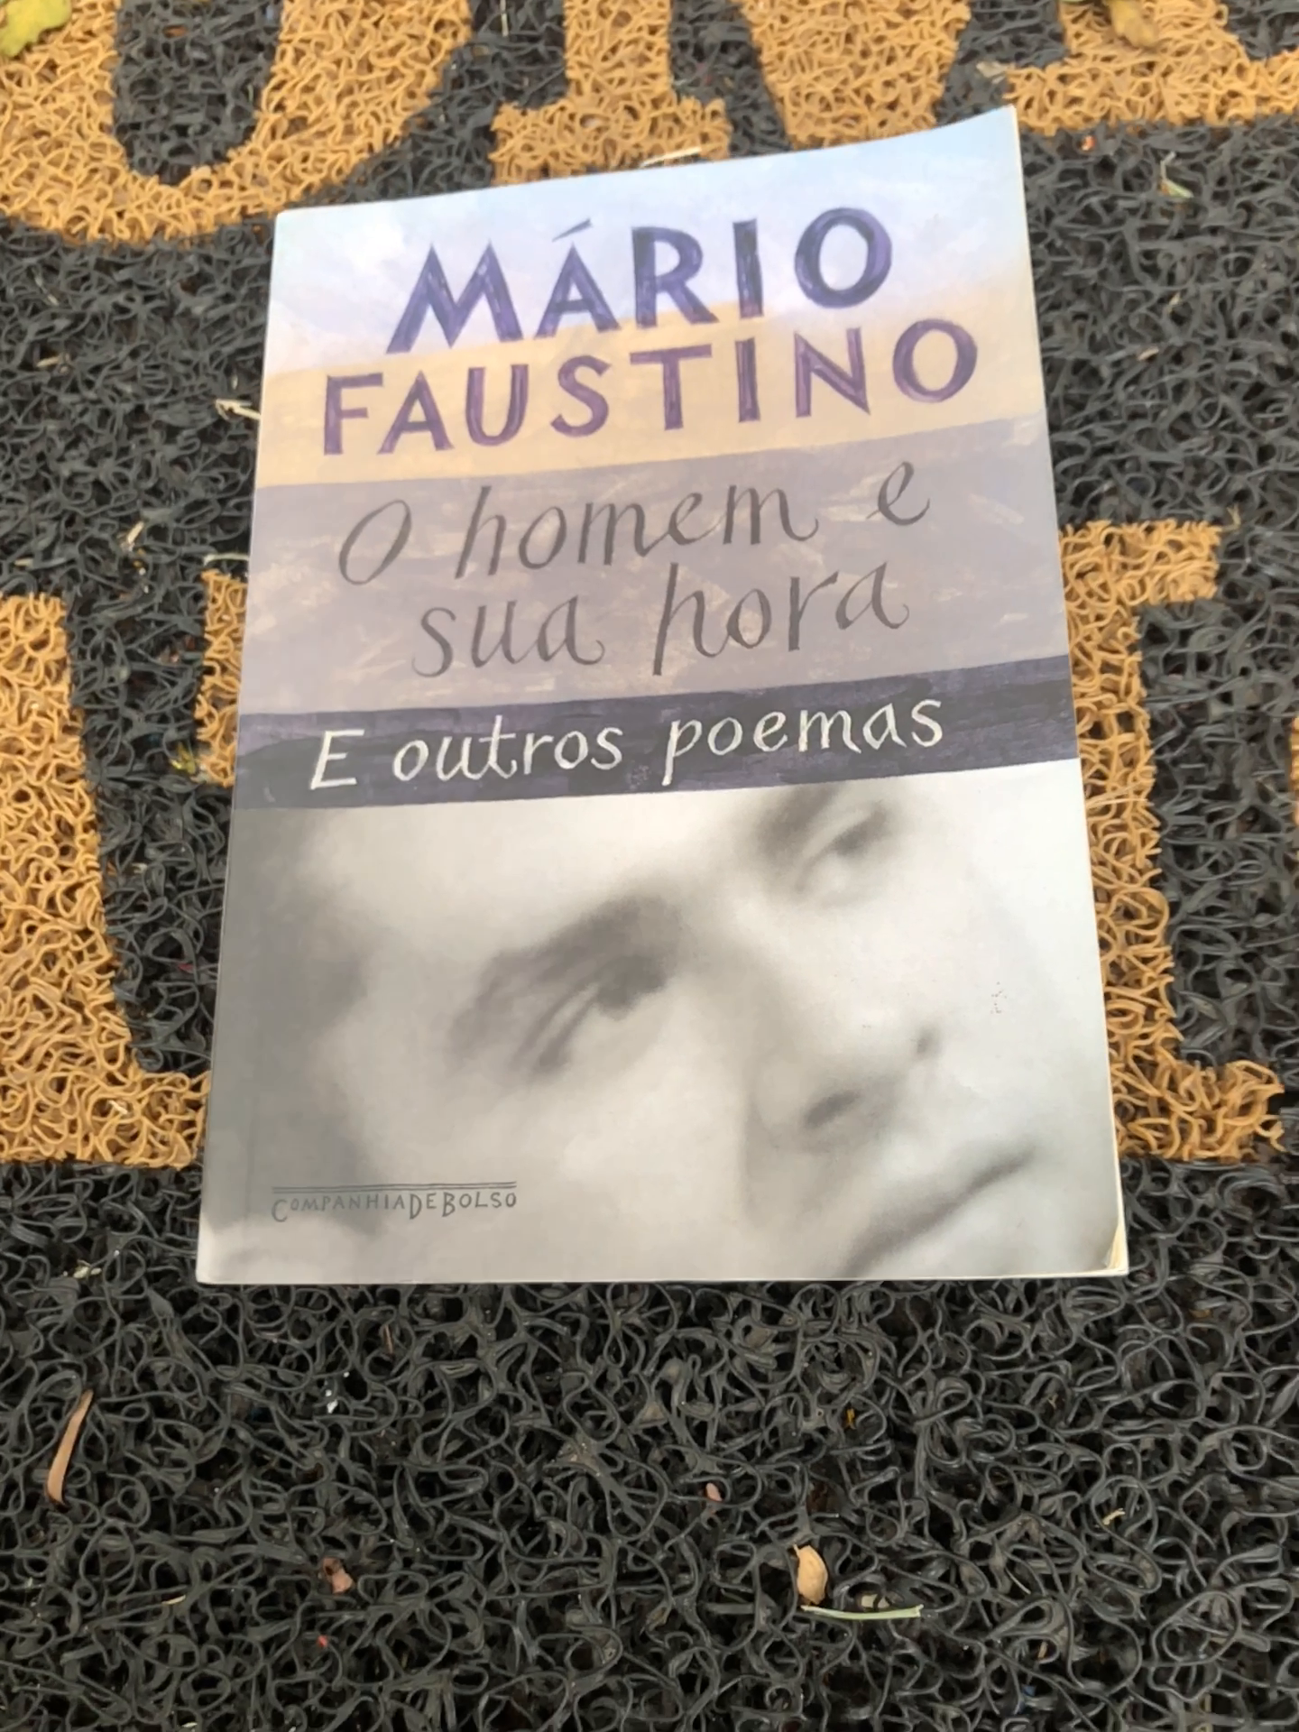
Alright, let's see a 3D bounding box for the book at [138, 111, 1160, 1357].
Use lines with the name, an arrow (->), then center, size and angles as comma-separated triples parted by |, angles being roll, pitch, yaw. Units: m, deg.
book -> -0.002, -0.022, 0.209 | 0.124, 0.020, 0.175 | -3, 73, 9
